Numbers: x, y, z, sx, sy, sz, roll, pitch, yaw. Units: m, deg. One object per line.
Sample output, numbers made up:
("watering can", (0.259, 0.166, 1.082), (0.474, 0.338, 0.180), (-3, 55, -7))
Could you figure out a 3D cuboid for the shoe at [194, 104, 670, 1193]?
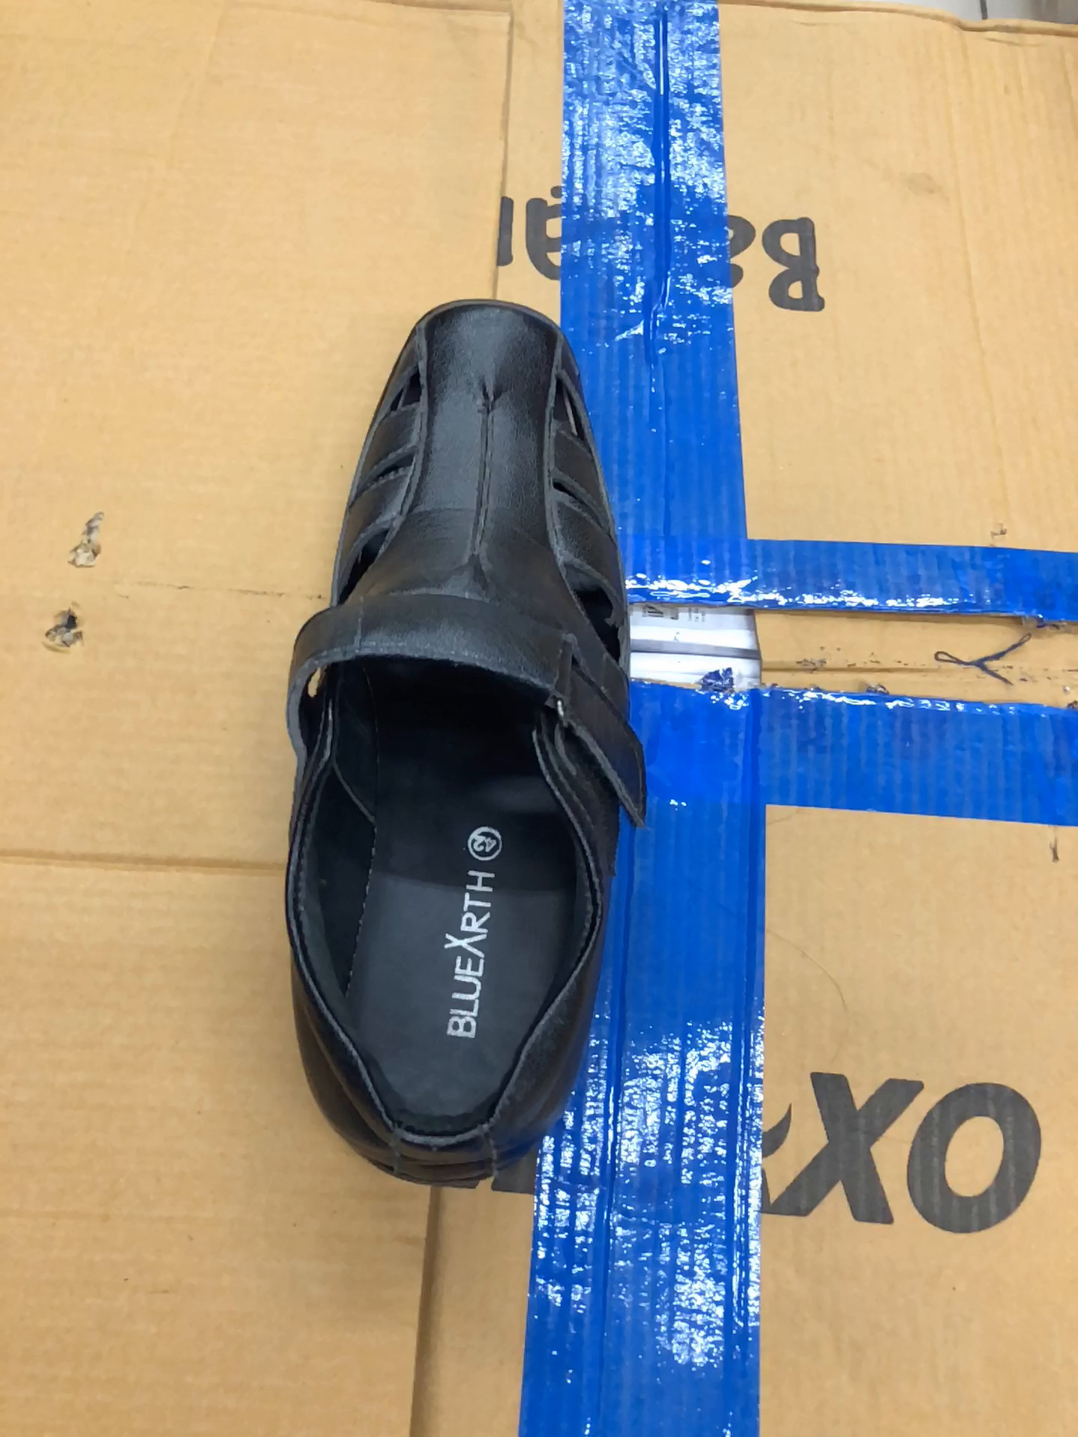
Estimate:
("shoe", (-0.022, -0.024, 0.351), (0.100, 0.100, 0.301), (2, 69, -2))
